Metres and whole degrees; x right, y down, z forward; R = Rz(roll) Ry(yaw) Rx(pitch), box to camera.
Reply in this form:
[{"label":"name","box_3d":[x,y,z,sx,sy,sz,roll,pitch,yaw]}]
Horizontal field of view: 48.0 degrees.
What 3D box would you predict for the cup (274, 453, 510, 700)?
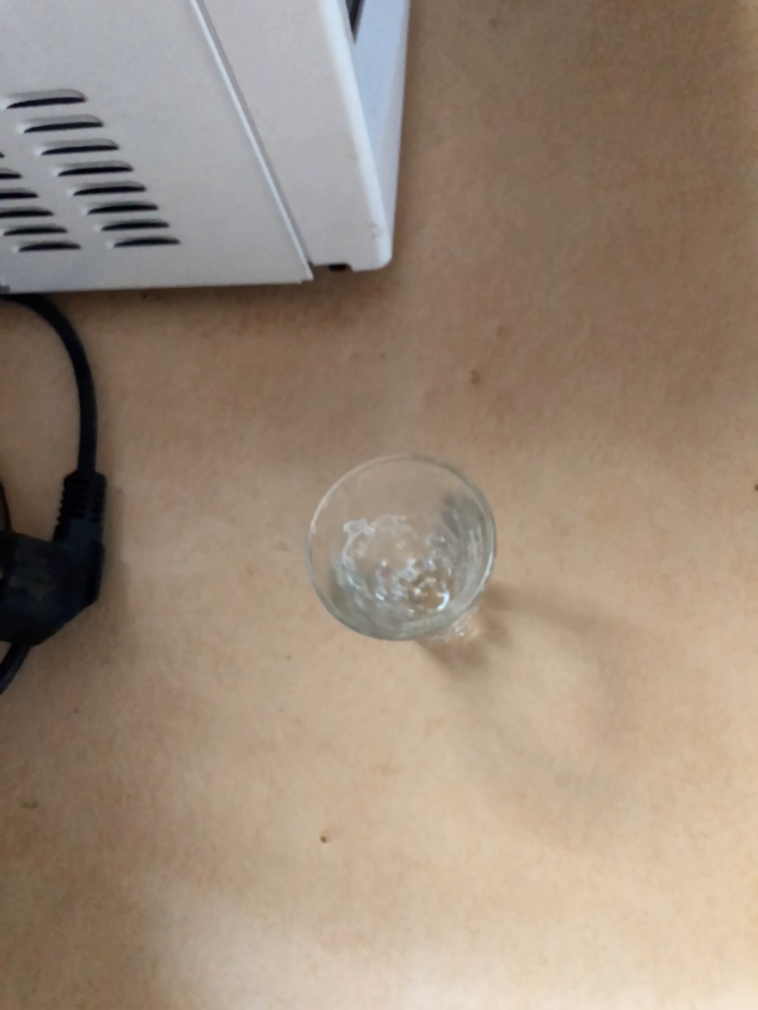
[{"label":"cup","box_3d":[0.009,0.024,0.256,0.050,0.070,0.050,-4,70,10]}]
